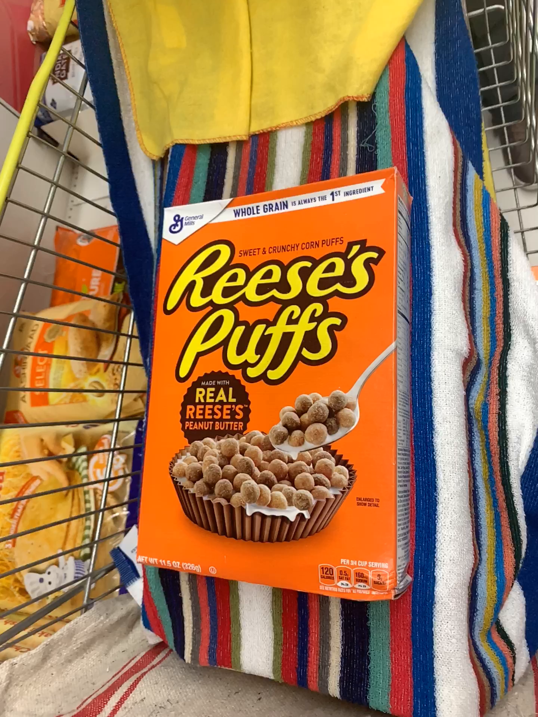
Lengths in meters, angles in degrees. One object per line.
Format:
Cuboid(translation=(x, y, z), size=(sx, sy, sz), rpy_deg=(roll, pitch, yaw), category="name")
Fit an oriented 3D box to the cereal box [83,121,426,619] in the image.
Cuboid(translation=(-0.006, 0.006, 0.365), size=(0.201, 0.080, 0.260), rpy_deg=(-2, 81, 26), category="cereal box")
